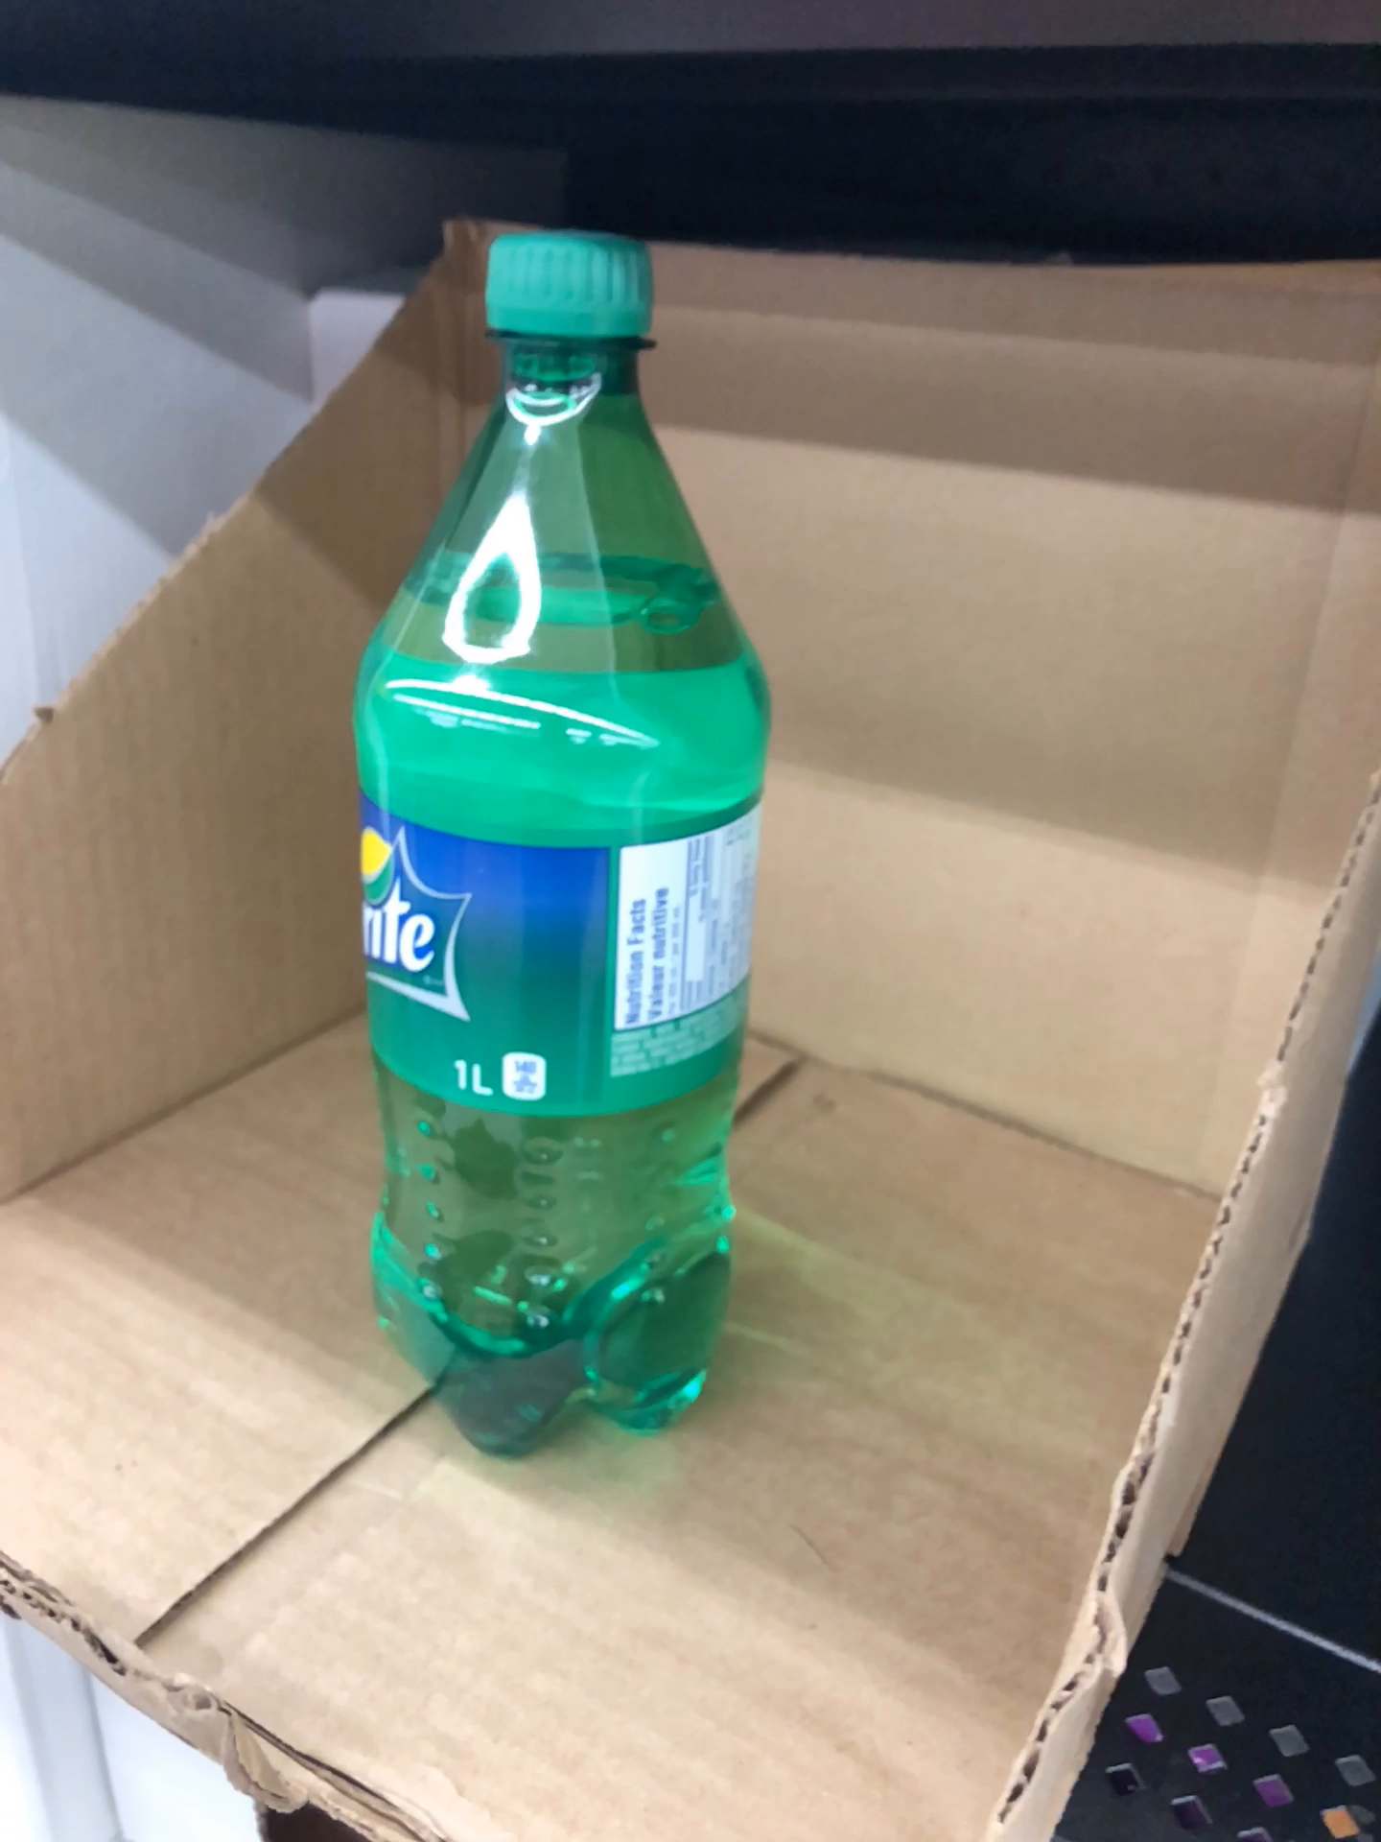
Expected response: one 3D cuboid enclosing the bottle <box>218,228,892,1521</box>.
[{"bbox_3d":[-0.031,-0.011,0.334,0.090,0.248,0.090,2,25,-1],"label":"bottle"}]
